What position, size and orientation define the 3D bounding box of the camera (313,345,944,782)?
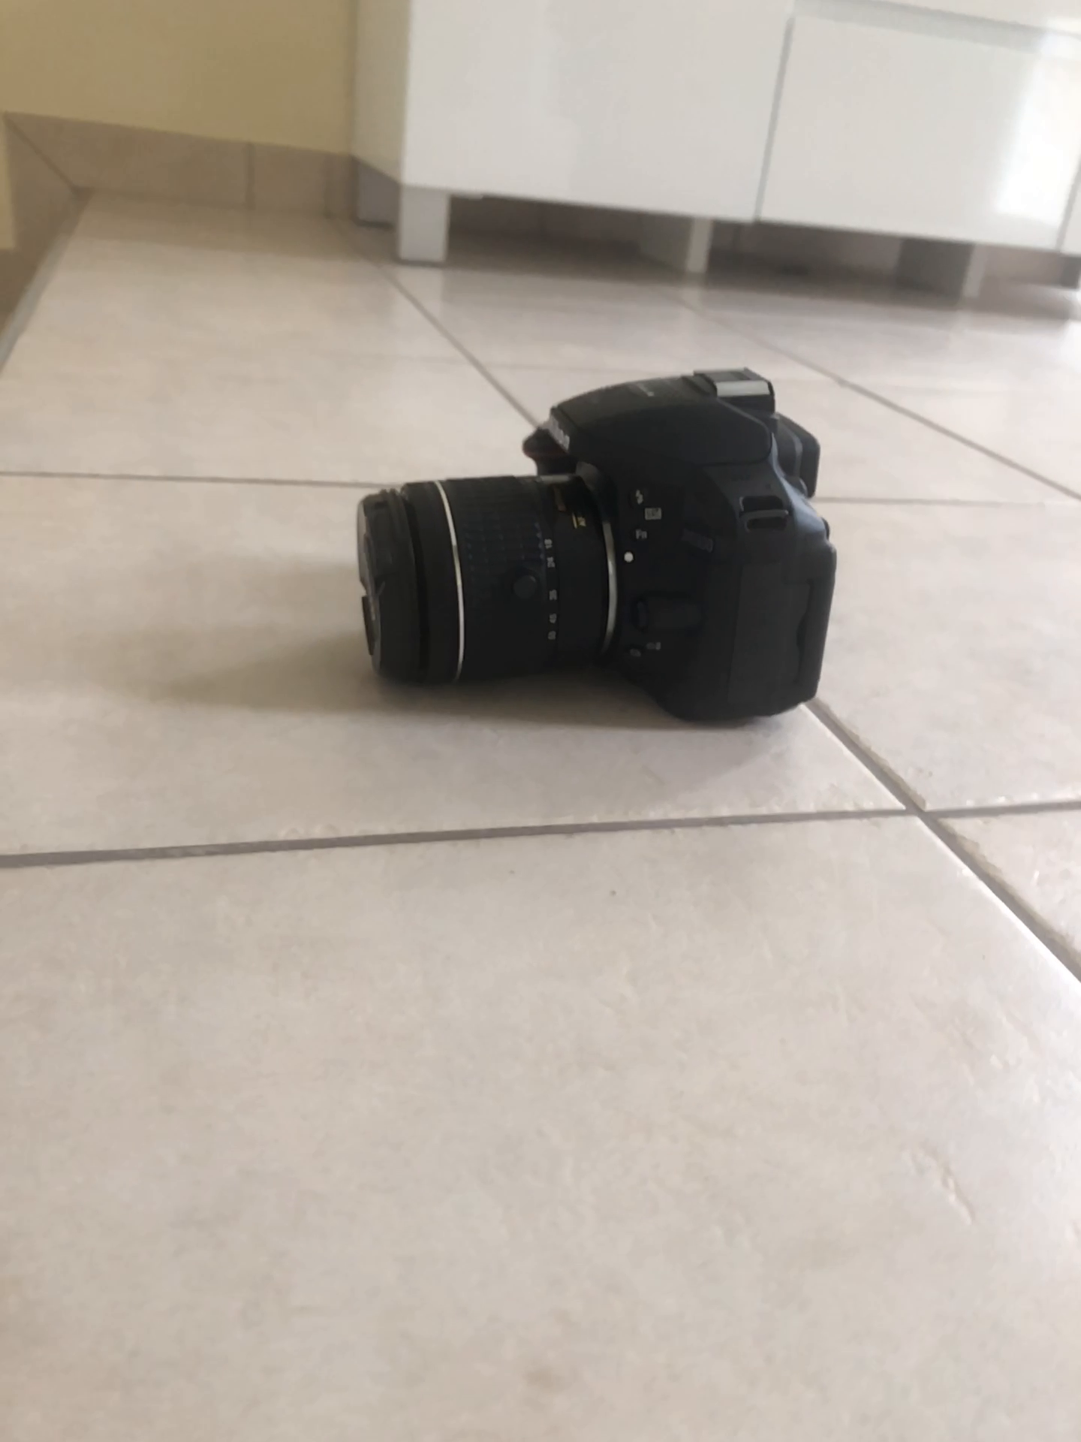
[{"bbox_3d":[0.014,-0.060,0.389,0.160,0.089,0.141,-3,28,-14],"label":"camera"}]
